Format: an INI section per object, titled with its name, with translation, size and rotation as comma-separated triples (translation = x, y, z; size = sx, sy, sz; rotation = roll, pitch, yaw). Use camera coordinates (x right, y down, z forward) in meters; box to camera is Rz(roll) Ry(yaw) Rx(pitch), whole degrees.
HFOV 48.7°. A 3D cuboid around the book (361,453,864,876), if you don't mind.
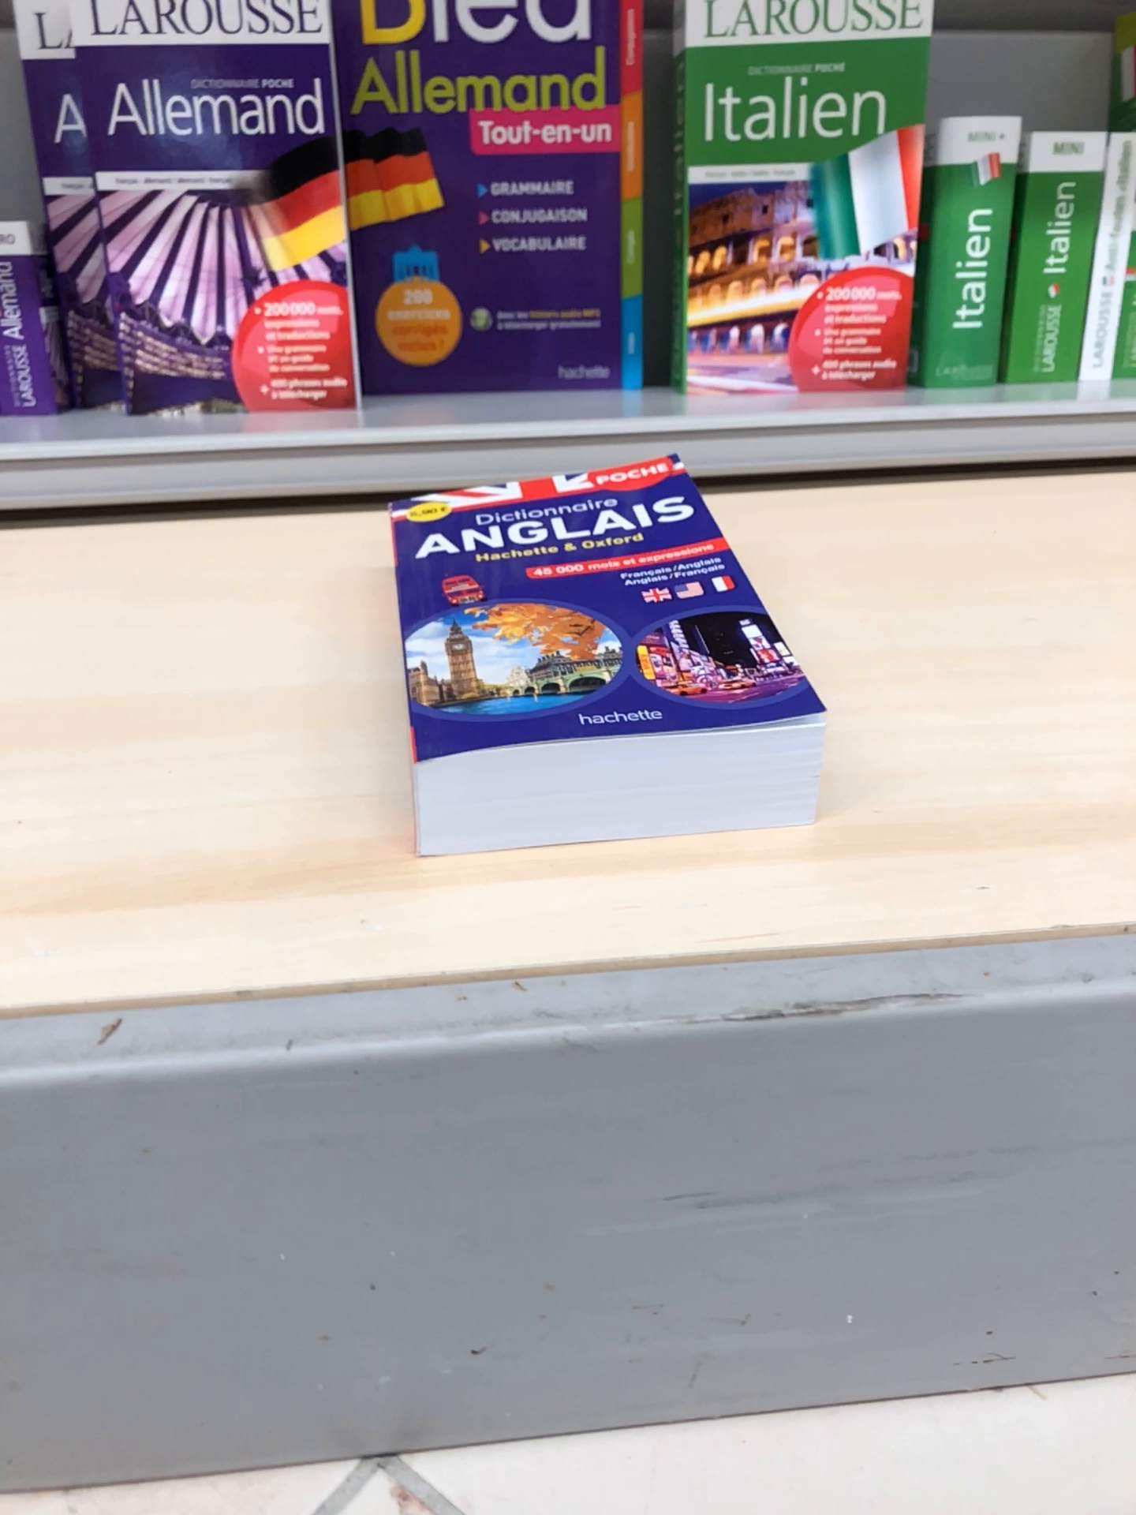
[book]
translation = -0.001, -0.042, 0.389
size = 0.119, 0.040, 0.188
rotation = -4, 33, -8
